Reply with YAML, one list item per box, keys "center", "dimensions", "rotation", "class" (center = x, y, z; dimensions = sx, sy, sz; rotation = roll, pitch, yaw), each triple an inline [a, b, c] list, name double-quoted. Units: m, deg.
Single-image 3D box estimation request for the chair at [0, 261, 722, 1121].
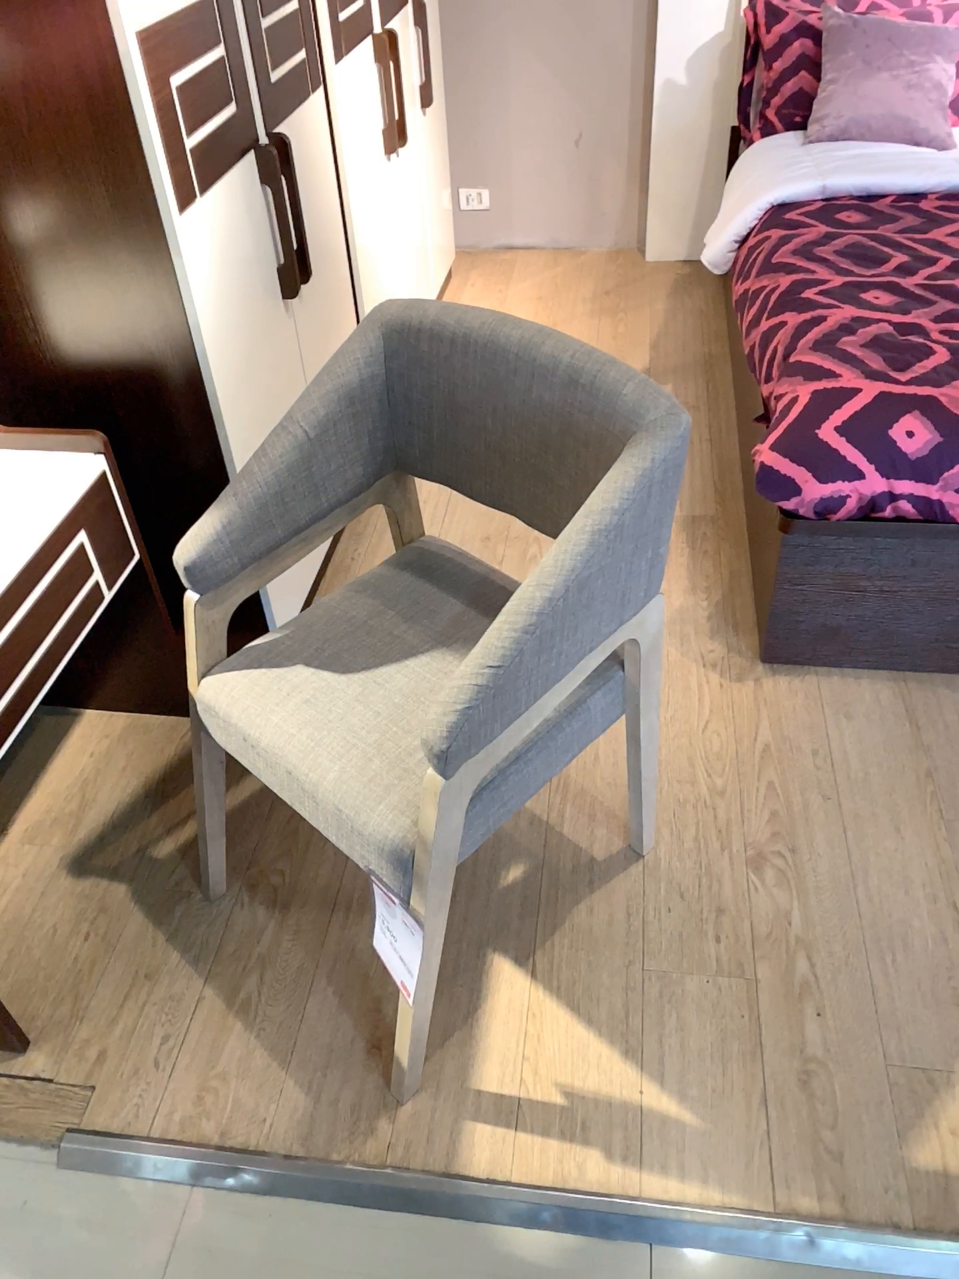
- center: [-0.123, 0.047, 1.287]
  dimensions: [0.562, 0.797, 0.581]
  rotation: [31, 52, 34]
  class: "chair"
